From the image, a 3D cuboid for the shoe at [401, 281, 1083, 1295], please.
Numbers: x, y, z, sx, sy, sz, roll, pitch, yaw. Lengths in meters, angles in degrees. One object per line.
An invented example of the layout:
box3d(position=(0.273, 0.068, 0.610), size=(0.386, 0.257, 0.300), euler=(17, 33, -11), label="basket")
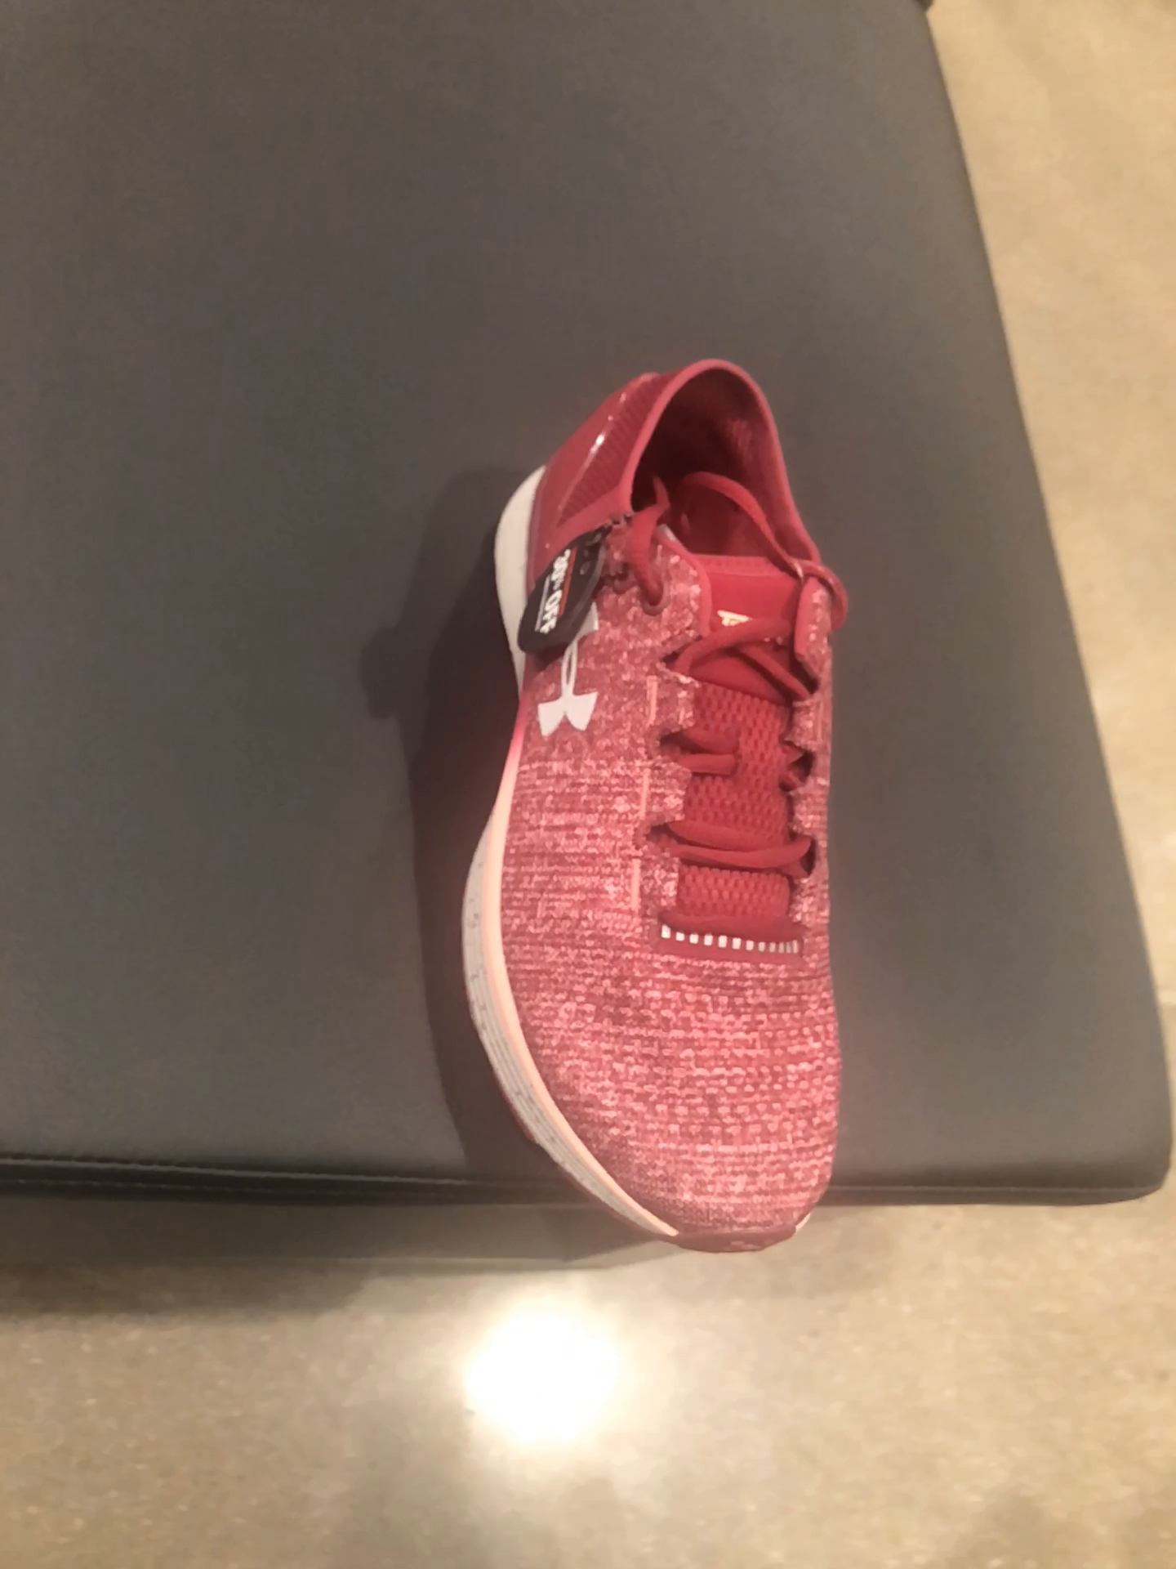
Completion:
box3d(position=(0.028, 0.001, 0.376), size=(0.122, 0.097, 0.253), euler=(4, 65, -25), label="shoe")
